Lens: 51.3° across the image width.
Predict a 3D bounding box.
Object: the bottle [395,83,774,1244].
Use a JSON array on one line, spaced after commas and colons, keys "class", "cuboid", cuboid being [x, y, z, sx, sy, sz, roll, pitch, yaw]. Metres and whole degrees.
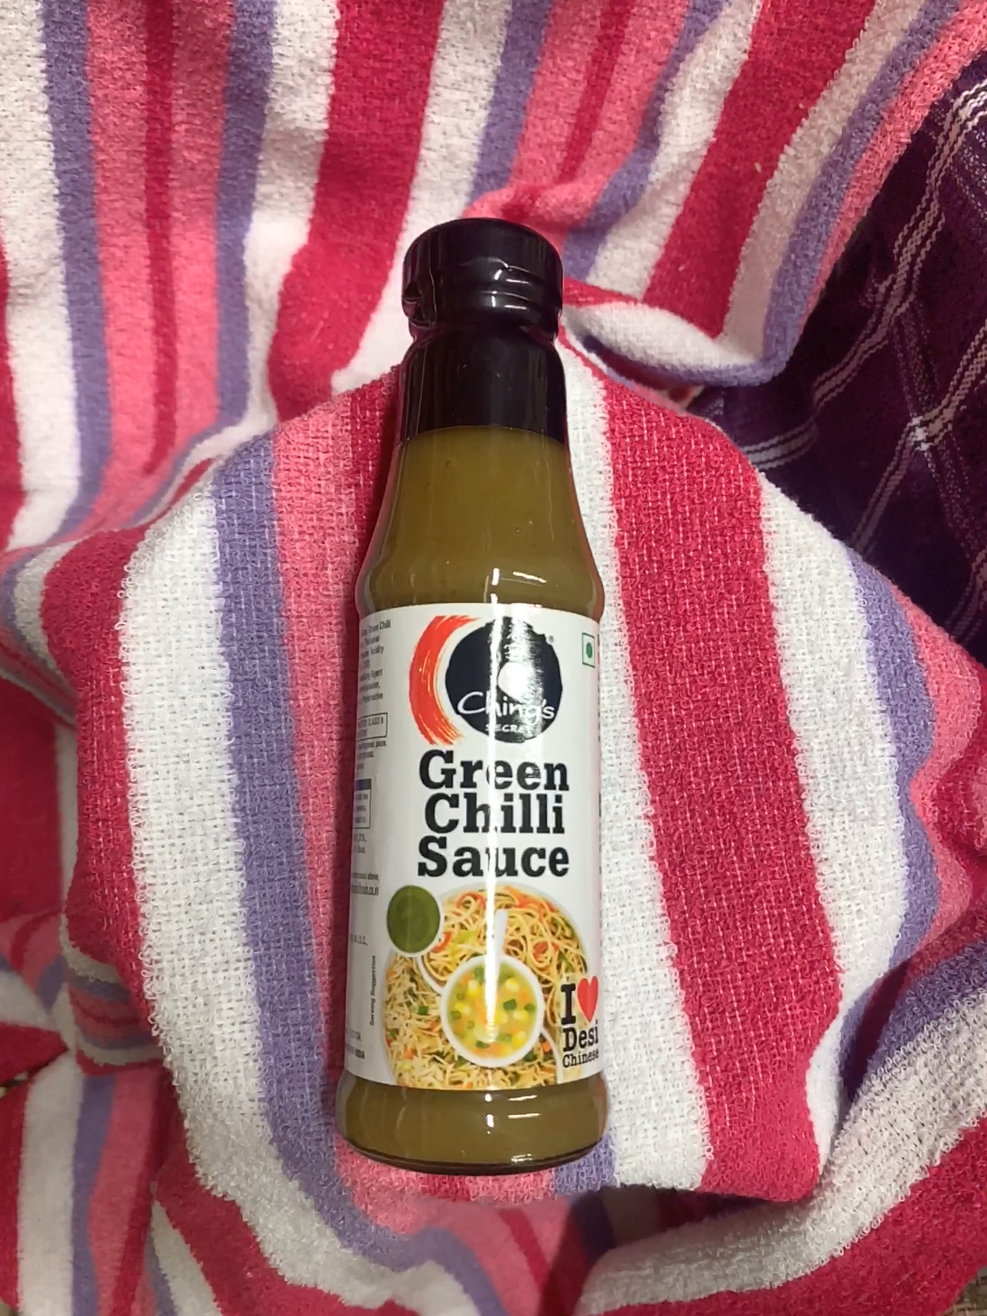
[{"class": "bottle", "cuboid": [0.009, -0.003, 0.175, 0.050, 0.050, 0.170, 1, 79, -6]}]
